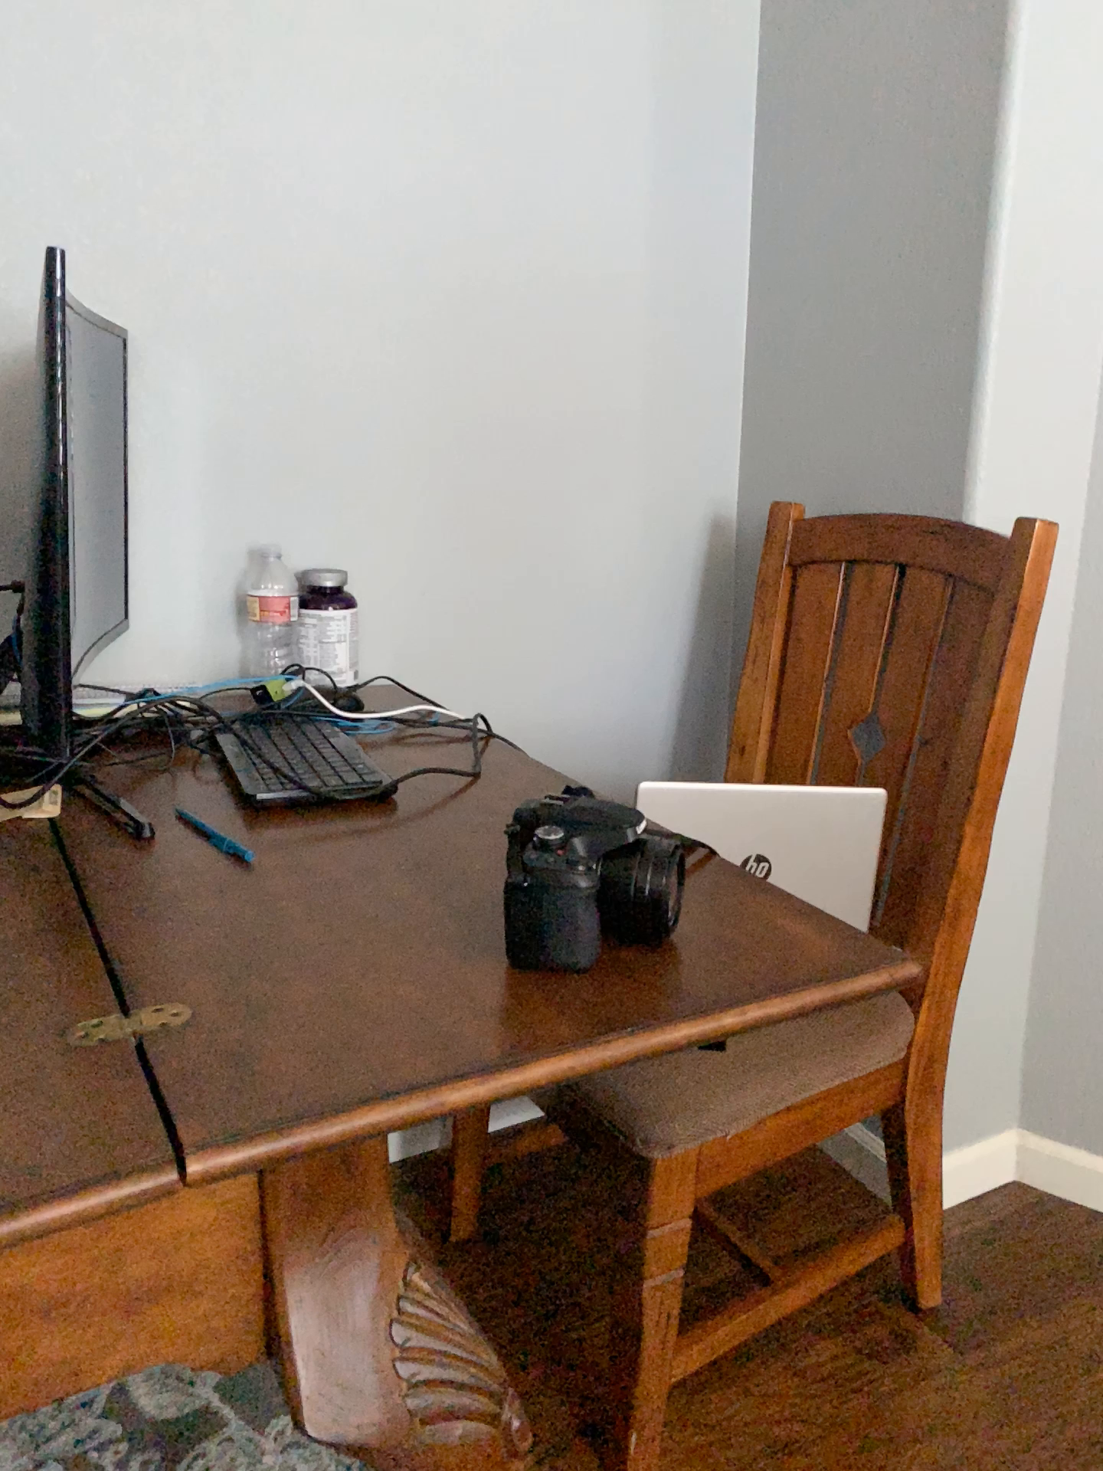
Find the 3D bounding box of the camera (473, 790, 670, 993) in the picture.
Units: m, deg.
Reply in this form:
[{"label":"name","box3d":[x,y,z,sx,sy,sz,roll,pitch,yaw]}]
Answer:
[{"label":"camera","box3d":[0.018,0.106,0.809,0.110,0.090,0.131,5,15,15]}]
